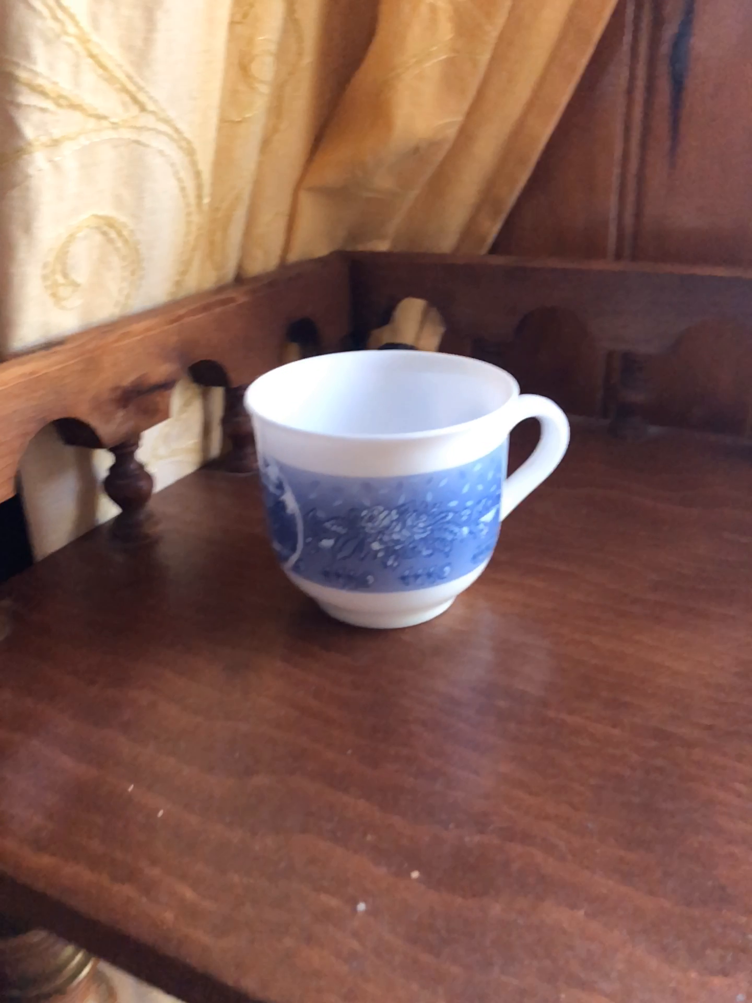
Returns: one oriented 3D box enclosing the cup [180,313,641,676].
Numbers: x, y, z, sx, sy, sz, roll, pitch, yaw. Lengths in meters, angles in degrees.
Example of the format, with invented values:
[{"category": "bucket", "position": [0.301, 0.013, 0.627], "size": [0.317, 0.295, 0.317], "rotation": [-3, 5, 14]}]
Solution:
[{"category": "cup", "position": [0.005, -0.010, 0.237], "size": [0.100, 0.060, 0.080], "rotation": [-11, 27, -19]}]
